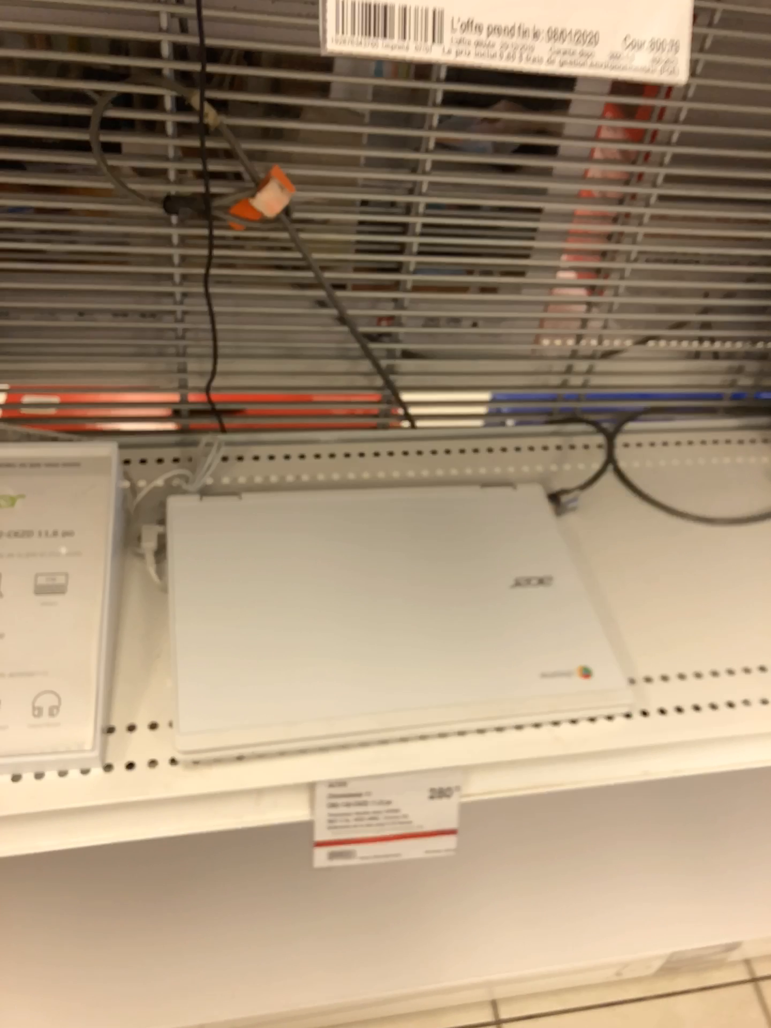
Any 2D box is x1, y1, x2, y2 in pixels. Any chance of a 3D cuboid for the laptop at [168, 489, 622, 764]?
[{"bbox_3d":[-0.001,0.067,0.603,0.286,0.024,0.184,-2,54,-13],"label":"laptop"}]
